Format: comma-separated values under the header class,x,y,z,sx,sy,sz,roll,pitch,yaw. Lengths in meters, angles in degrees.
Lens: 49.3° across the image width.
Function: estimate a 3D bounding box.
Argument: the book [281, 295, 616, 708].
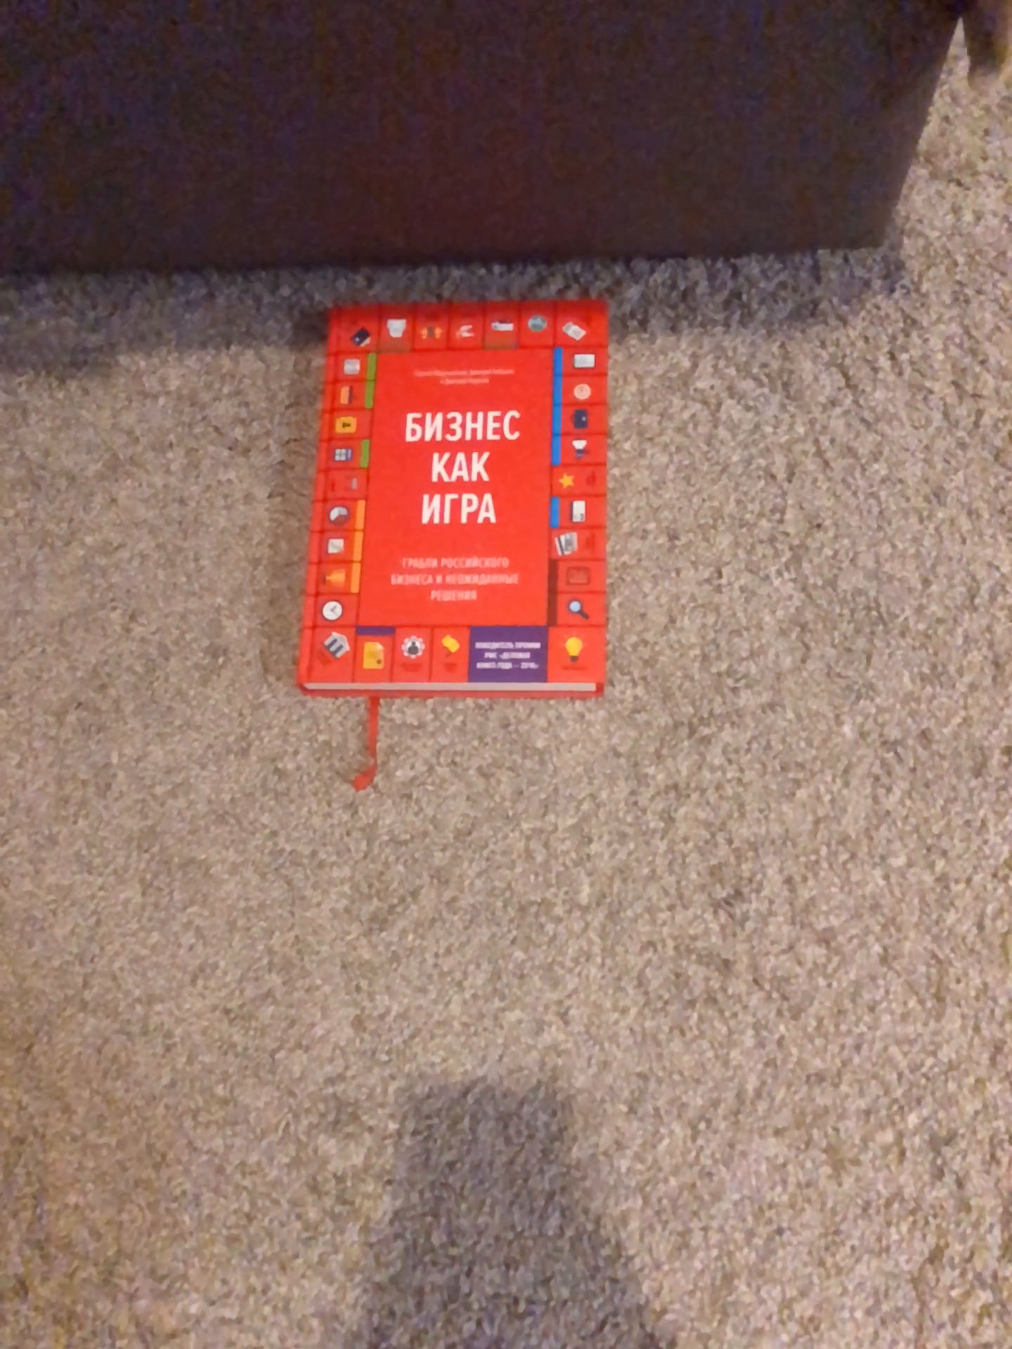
class,x,y,z,sx,sy,sz,roll,pitch,yaw
book,-0.027,-0.104,0.641,0.179,0.033,0.247,0,71,5
